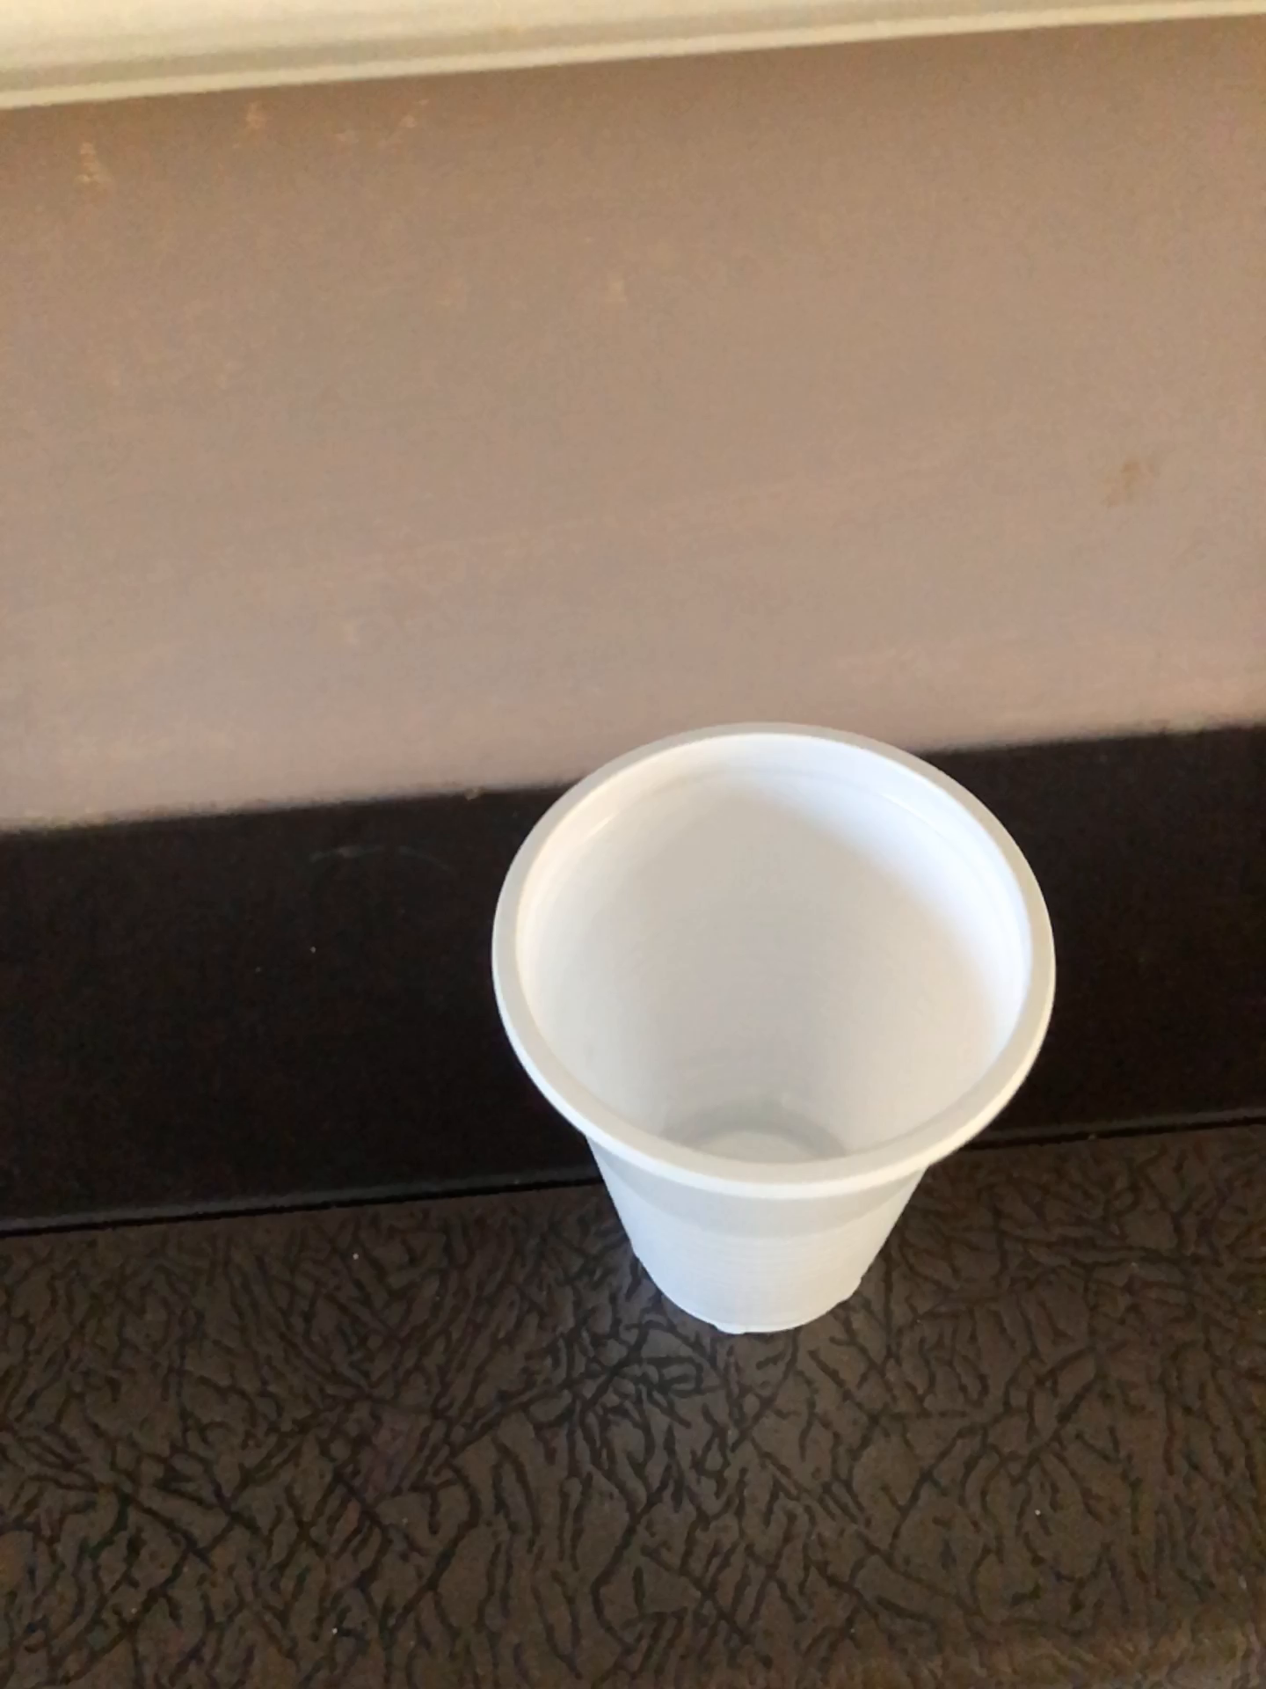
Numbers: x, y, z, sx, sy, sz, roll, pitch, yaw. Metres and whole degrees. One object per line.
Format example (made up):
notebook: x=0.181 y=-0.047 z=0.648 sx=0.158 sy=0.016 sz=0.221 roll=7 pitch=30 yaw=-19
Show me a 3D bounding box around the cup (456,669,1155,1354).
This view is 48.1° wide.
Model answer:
cup: x=0.021 y=0.027 z=0.213 sx=0.079 sy=0.073 sz=0.073 roll=-2 pitch=53 yaw=2
